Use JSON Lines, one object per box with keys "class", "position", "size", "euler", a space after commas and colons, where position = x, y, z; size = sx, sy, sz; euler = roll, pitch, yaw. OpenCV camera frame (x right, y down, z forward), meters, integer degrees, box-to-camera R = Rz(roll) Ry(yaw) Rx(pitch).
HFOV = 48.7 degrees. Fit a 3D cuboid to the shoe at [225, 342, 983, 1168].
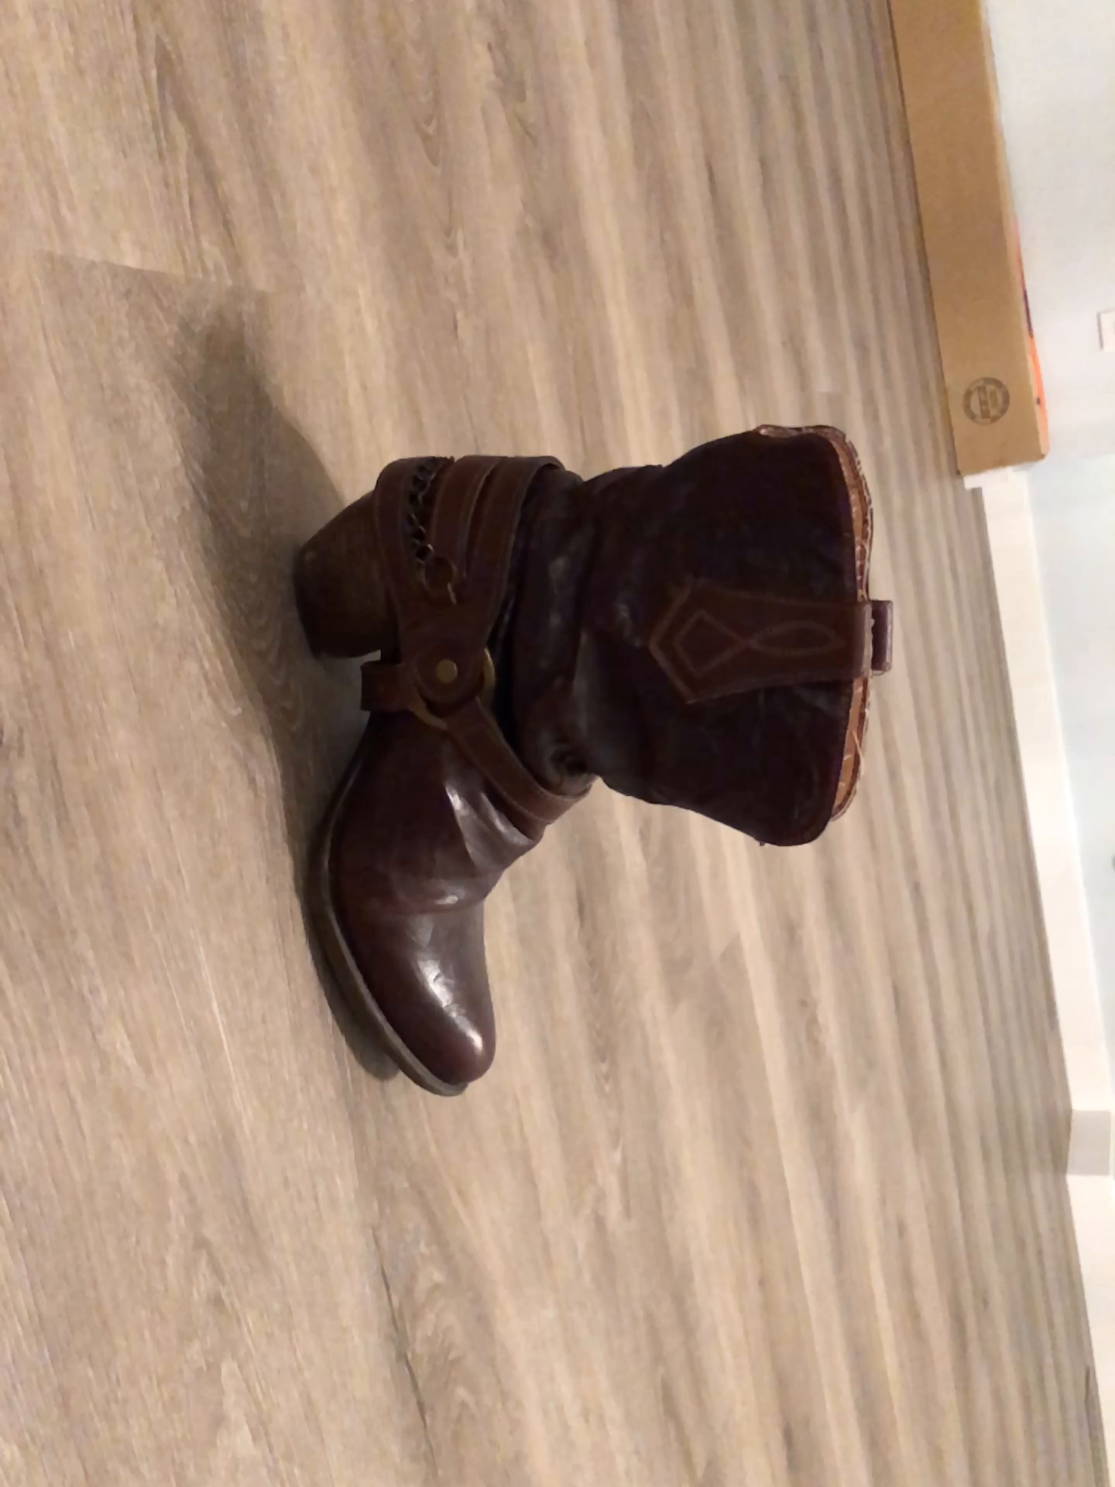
{"class": "shoe", "position": [0.020, 0.012, 0.441], "size": [0.101, 0.209, 0.240], "euler": [-21, 102, -64]}
